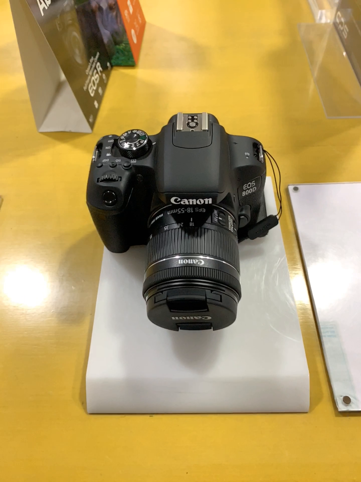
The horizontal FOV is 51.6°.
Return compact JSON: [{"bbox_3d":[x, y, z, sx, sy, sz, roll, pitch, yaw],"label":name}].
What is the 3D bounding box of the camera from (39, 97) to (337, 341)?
[{"bbox_3d":[0.004,-0.014,0.249,0.140,0.090,0.130,-2,56,3],"label":"camera"}]
